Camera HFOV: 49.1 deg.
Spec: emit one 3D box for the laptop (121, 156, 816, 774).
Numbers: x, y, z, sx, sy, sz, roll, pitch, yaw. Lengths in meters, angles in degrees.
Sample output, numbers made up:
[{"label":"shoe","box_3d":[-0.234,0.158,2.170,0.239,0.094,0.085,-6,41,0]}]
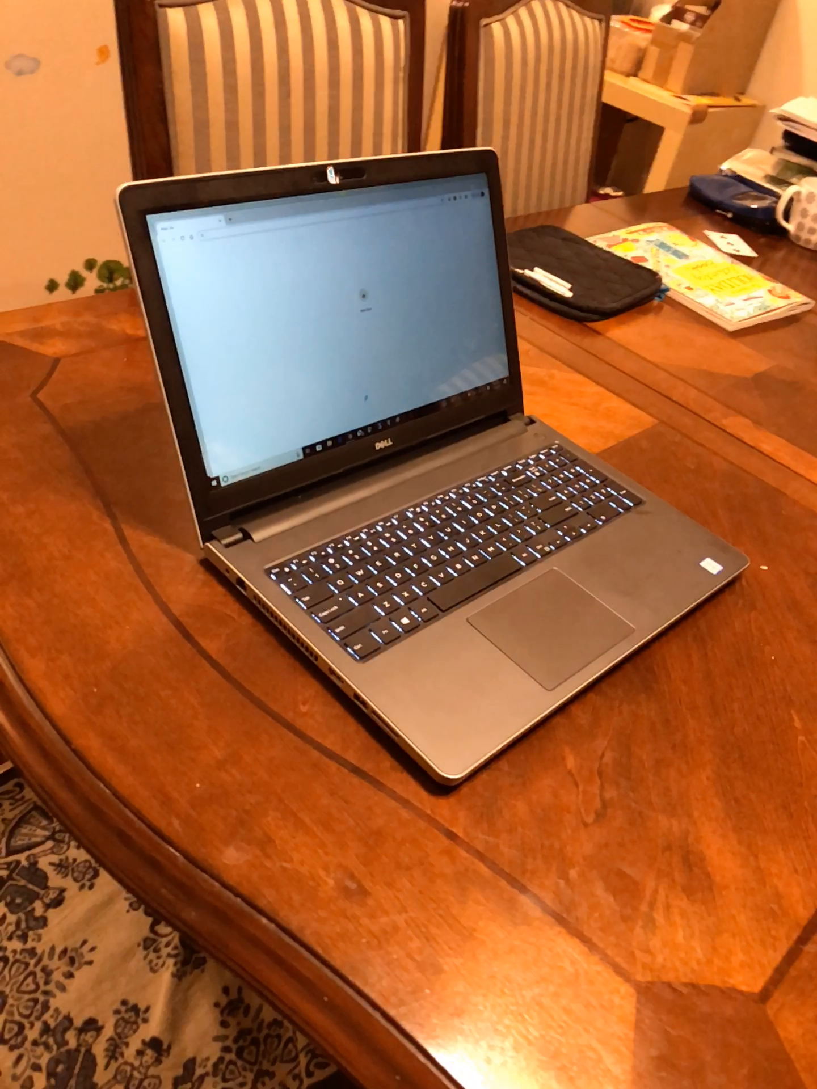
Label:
[{"label":"laptop","box_3d":[0.050,-0.106,0.666,0.370,0.212,0.360,-25,52,-37]}]
